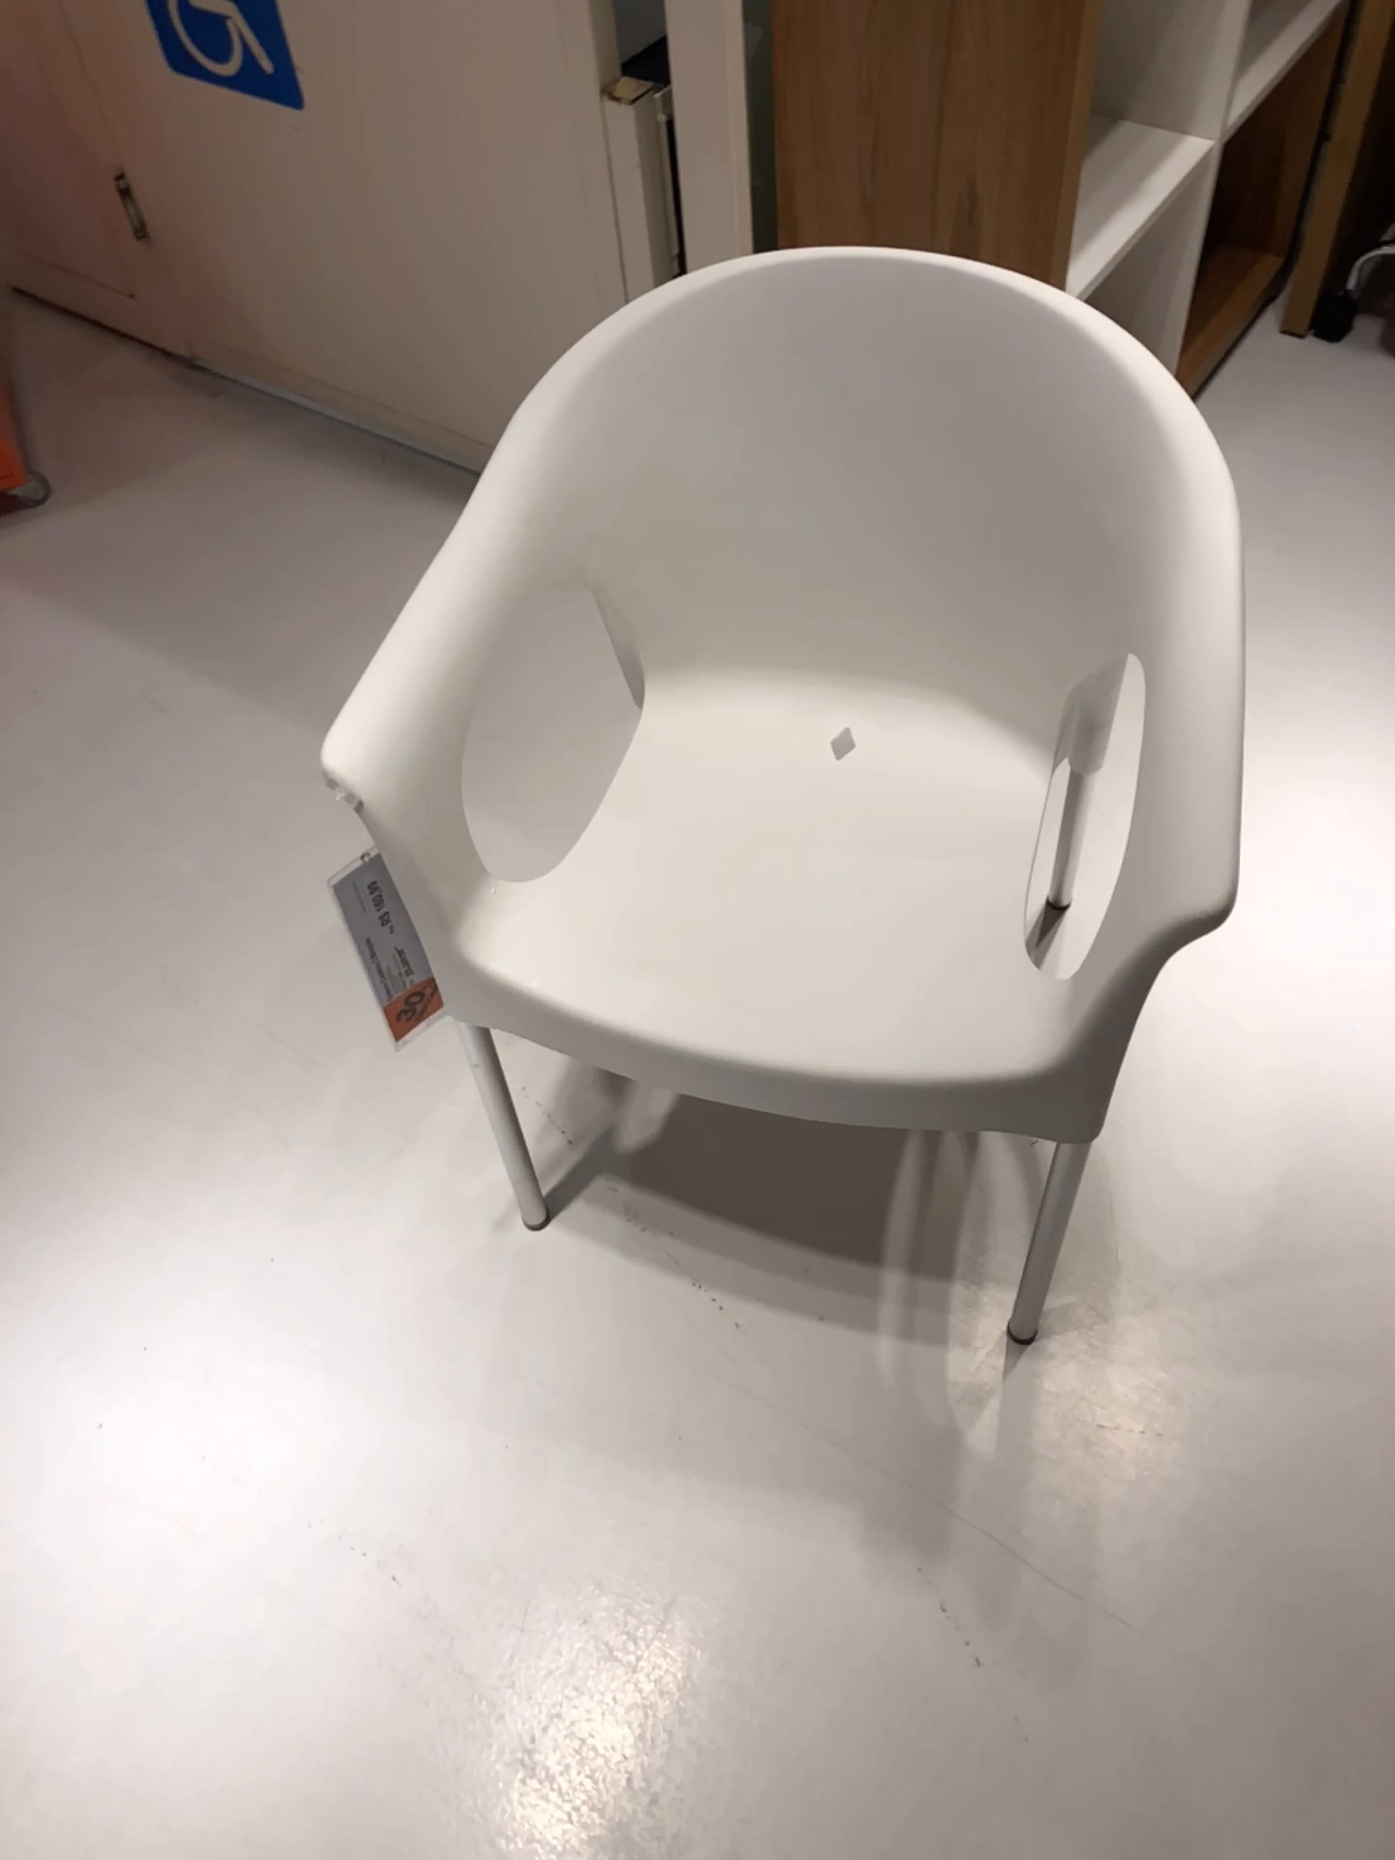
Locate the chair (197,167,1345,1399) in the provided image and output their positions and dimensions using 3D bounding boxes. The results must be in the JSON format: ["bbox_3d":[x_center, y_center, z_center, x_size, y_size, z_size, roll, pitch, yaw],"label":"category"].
[{"bbox_3d":[0.112,-0.103,1.298,0.610,0.736,0.613,12,56,13],"label":"chair"}]
